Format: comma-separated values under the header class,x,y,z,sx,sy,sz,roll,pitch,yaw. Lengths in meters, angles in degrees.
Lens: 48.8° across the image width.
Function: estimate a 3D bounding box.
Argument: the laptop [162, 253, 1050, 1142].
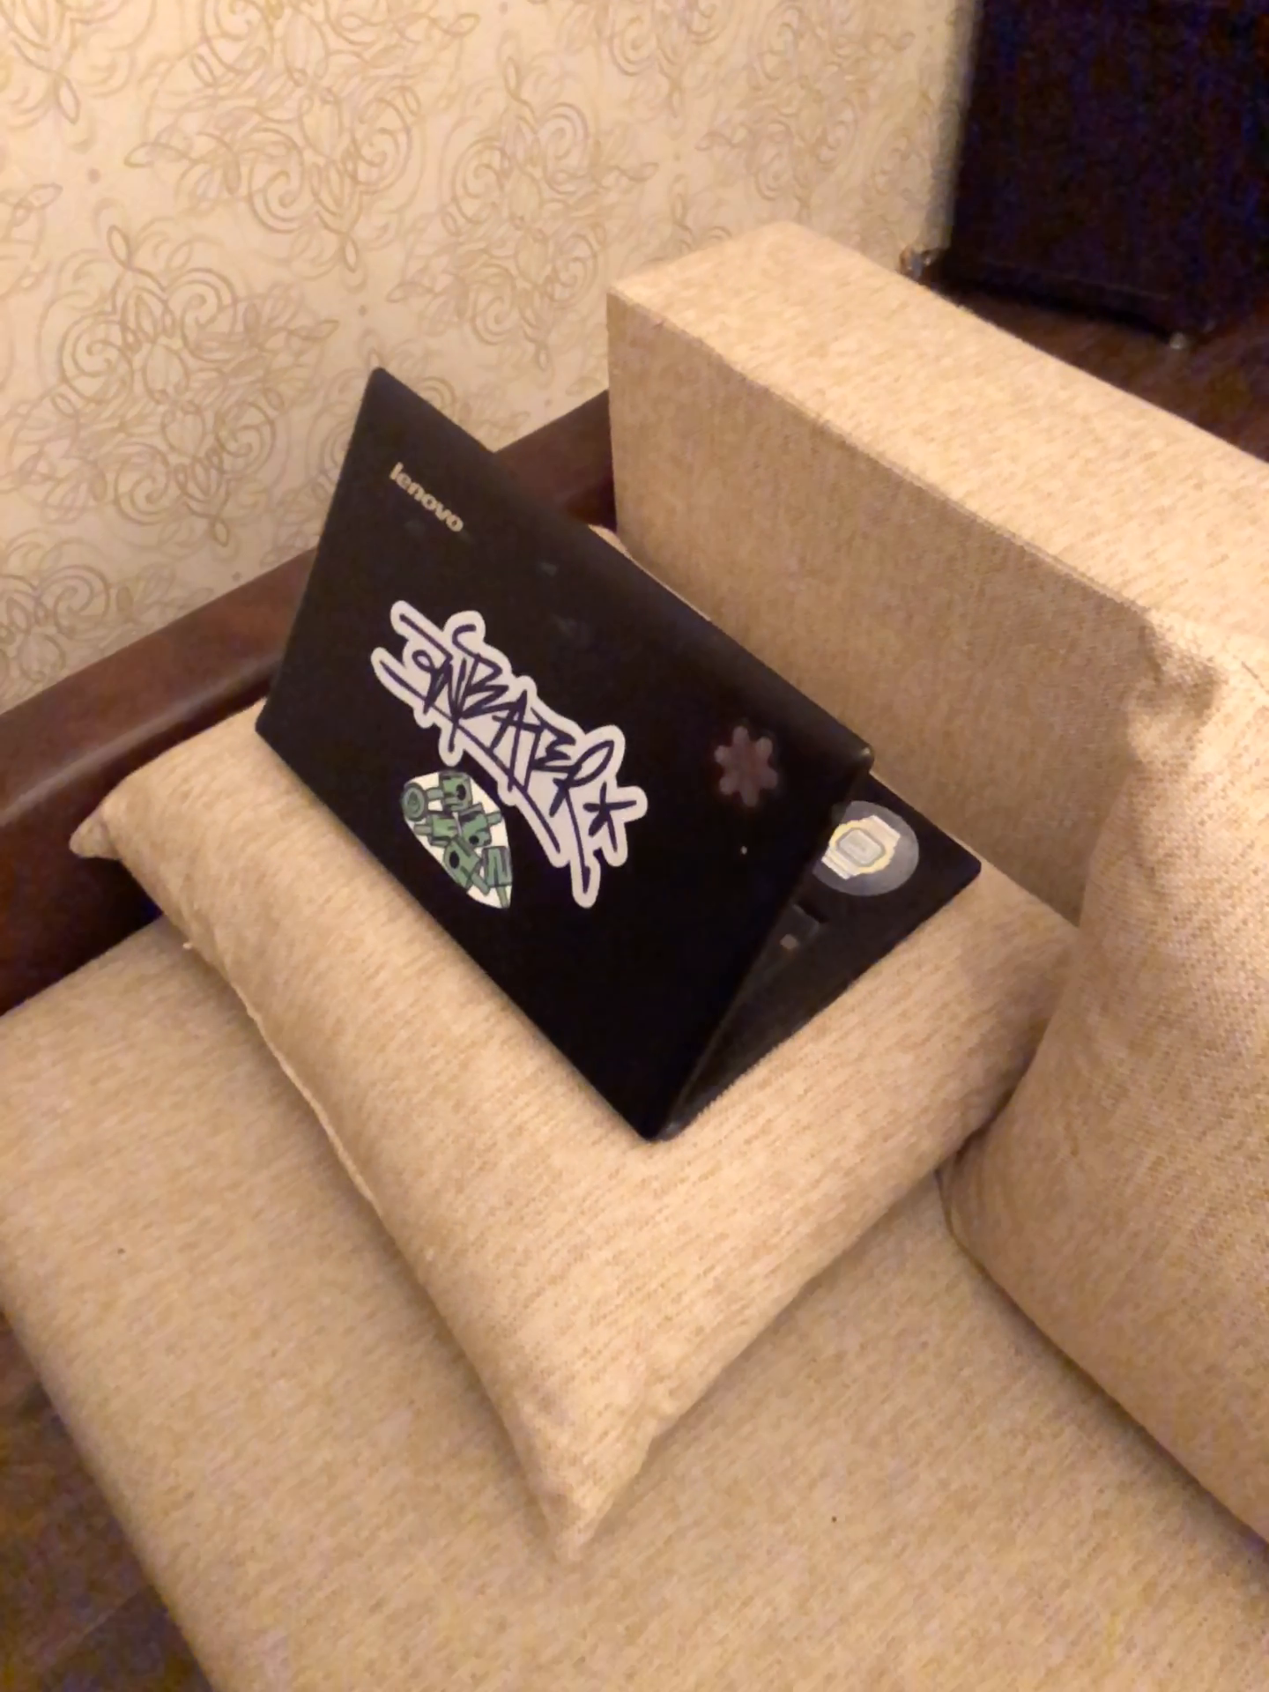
class,x,y,z,sx,sy,sz,roll,pitch,yaw
laptop,-0.026,-0.105,0.830,0.267,0.223,0.413,-37,60,-21
